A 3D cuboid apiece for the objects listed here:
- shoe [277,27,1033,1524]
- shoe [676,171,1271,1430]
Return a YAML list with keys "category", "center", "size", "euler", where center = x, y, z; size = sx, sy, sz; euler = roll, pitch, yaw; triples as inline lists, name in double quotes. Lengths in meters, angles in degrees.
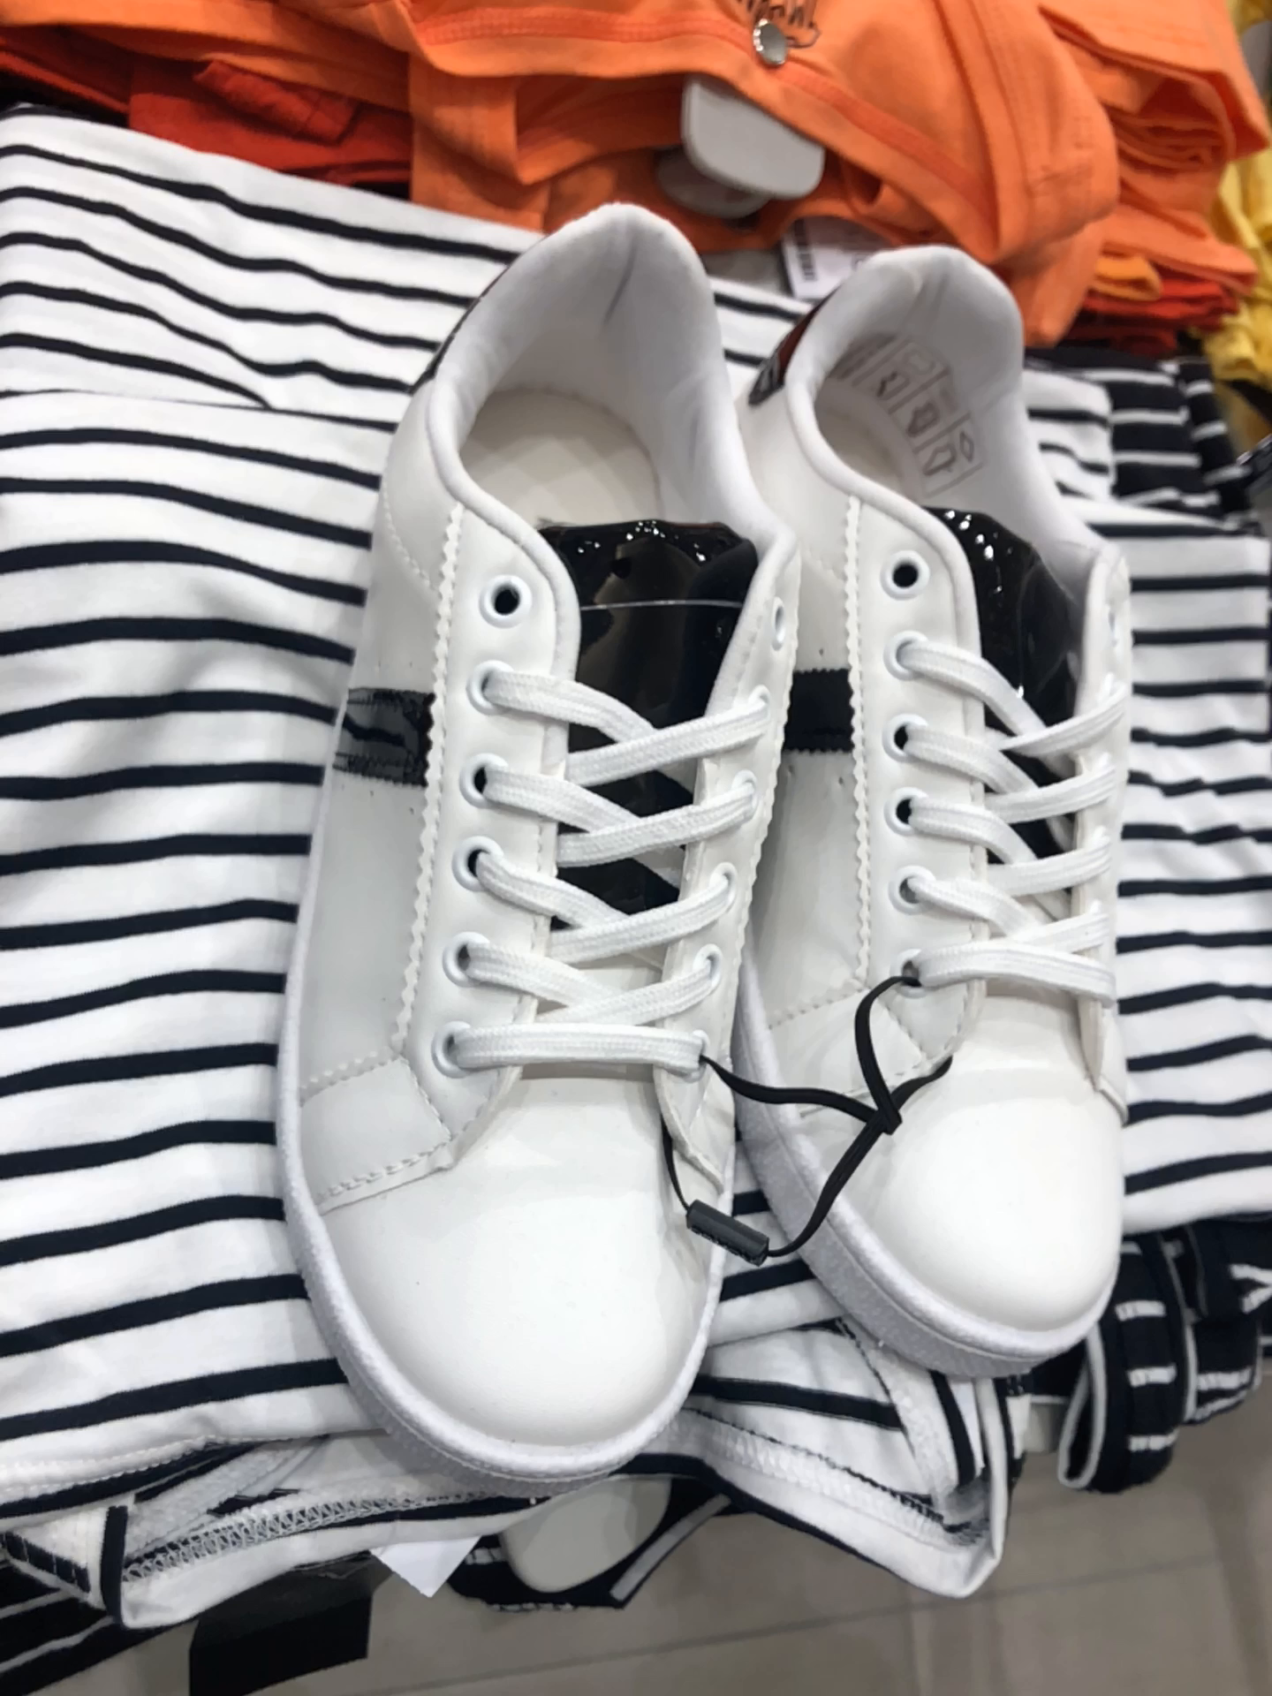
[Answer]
- category: "shoe"
  center: [-0.006, -0.011, 0.235]
  size: [0.080, 0.080, 0.210]
  euler: [7, 69, -24]
- category: "shoe"
  center: [0.075, -0.007, 0.275]
  size: [0.090, 0.080, 0.210]
  euler: [4, 69, -25]
